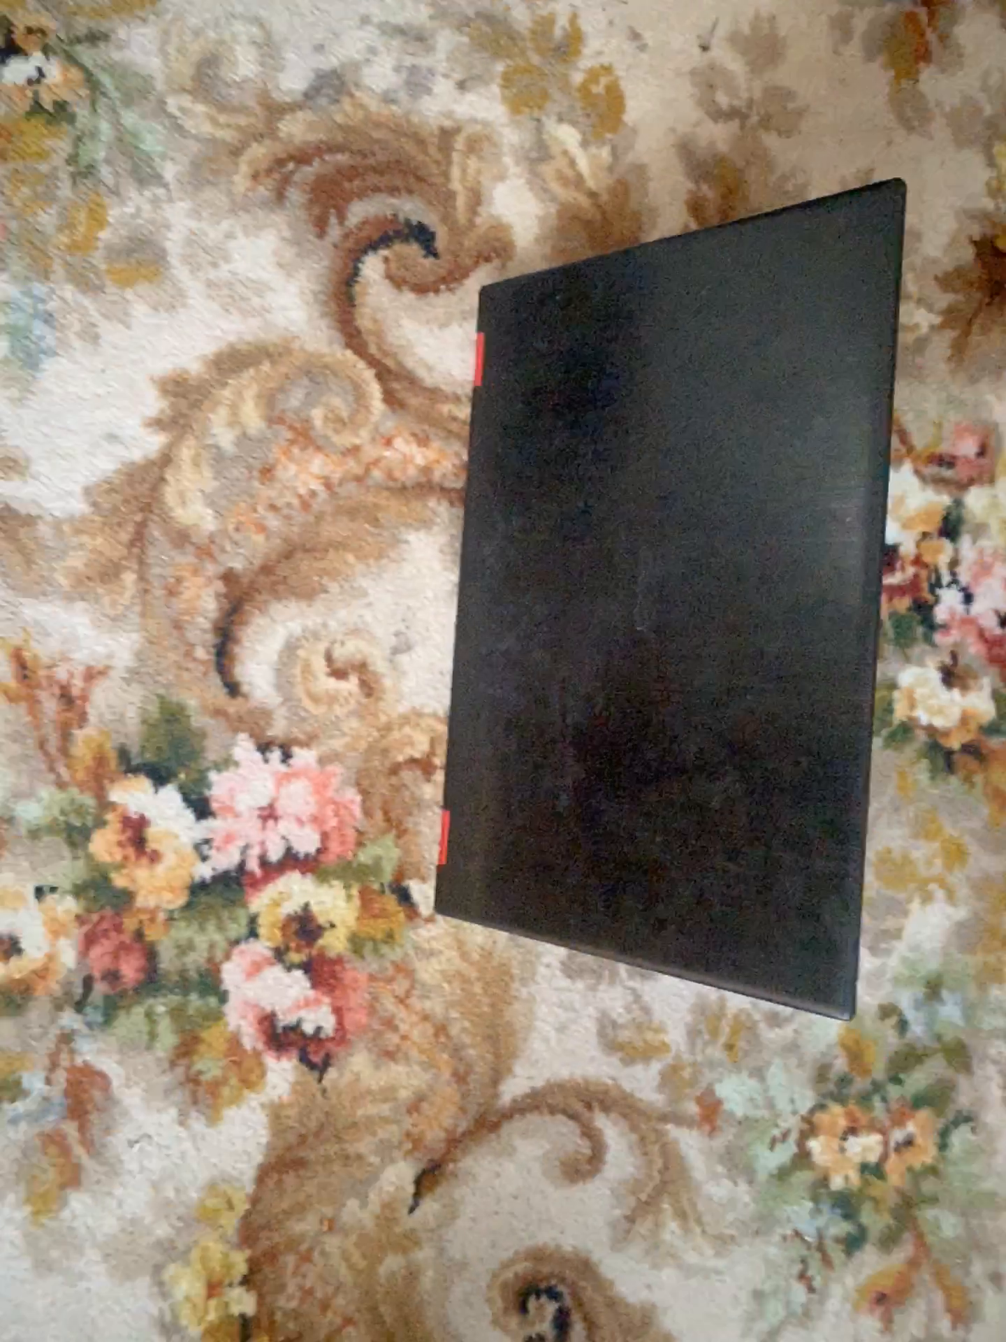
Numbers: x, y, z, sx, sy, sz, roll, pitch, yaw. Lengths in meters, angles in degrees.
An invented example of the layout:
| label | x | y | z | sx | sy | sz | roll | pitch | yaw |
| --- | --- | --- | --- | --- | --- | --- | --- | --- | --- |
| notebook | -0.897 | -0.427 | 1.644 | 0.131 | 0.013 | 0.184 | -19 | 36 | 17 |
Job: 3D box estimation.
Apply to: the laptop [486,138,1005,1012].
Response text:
| label | x | y | z | sx | sy | sz | roll | pitch | yaw |
| --- | --- | --- | --- | --- | --- | --- | --- | --- | --- |
| laptop | 0.127 | -0.032 | 0.533 | 0.224 | 0.172 | 0.356 | 5 | 89 | -12 |
